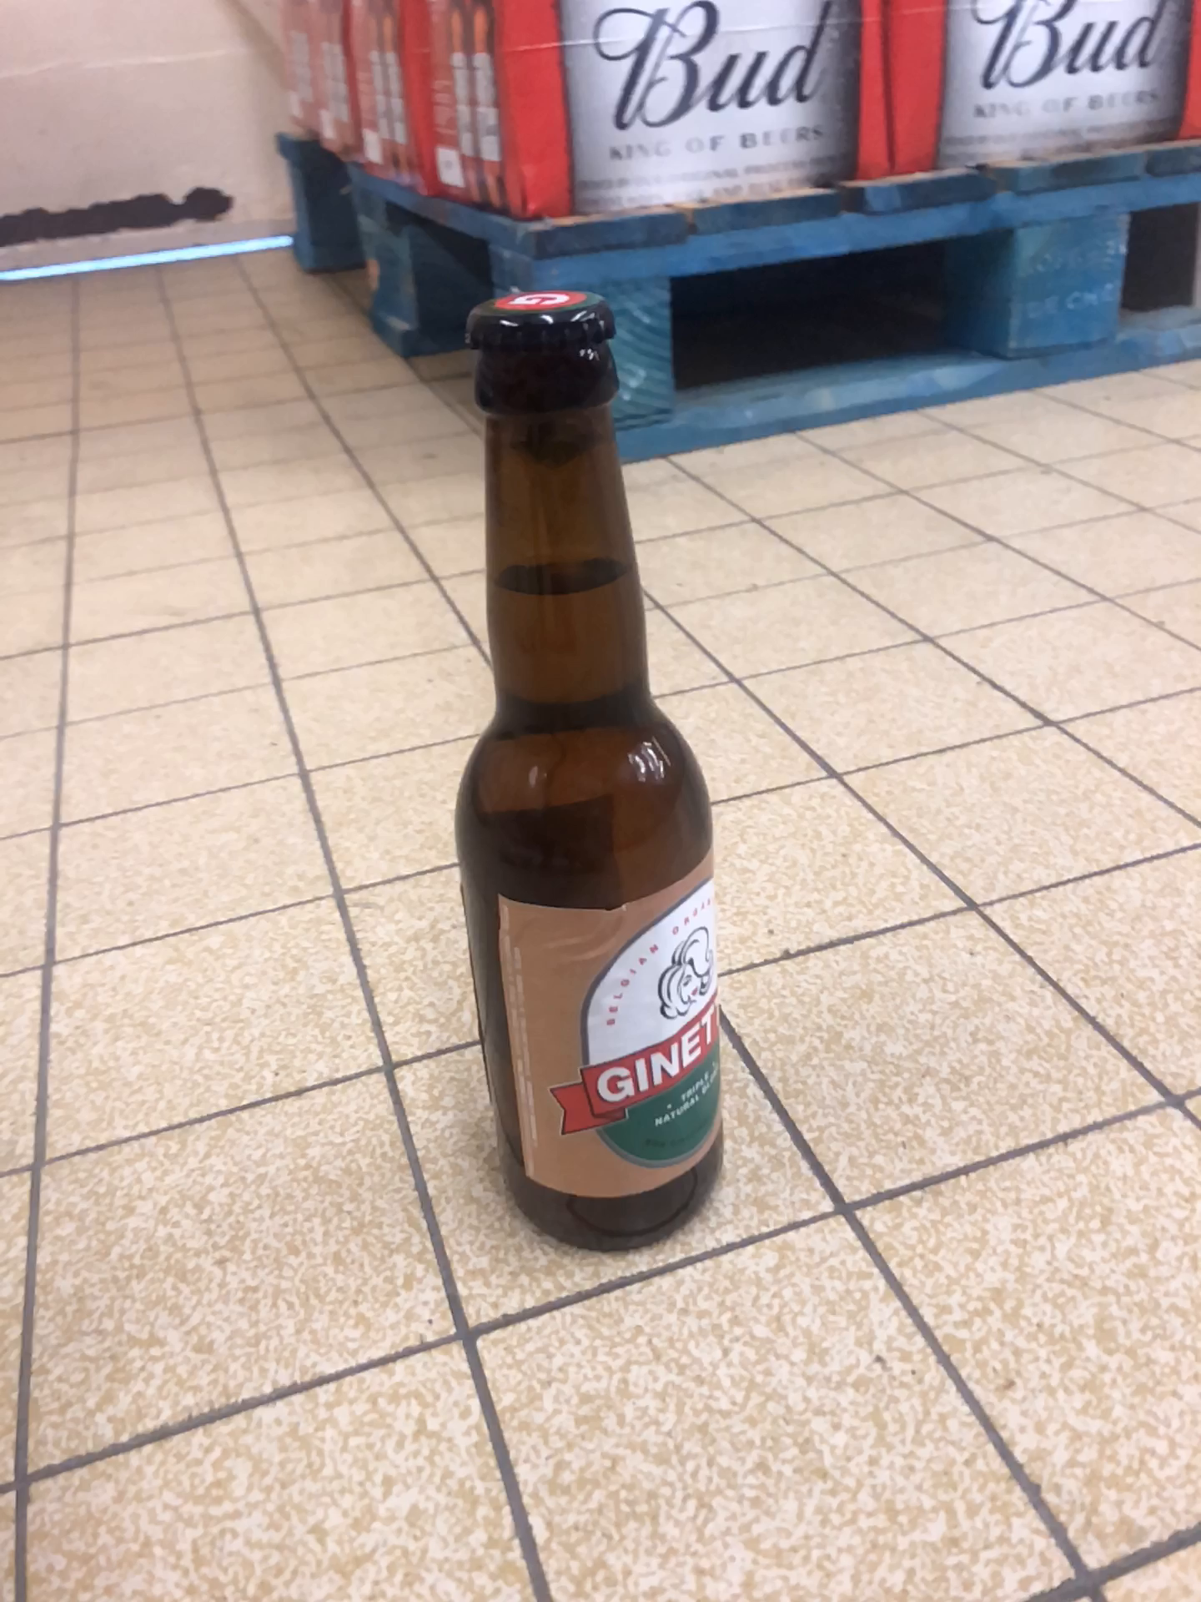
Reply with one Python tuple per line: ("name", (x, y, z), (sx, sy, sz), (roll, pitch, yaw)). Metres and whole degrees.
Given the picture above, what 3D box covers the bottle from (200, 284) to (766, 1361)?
("bottle", (-0.014, 0.009, 0.294), (0.070, 0.219, 0.070), (-4, 29, 2))
